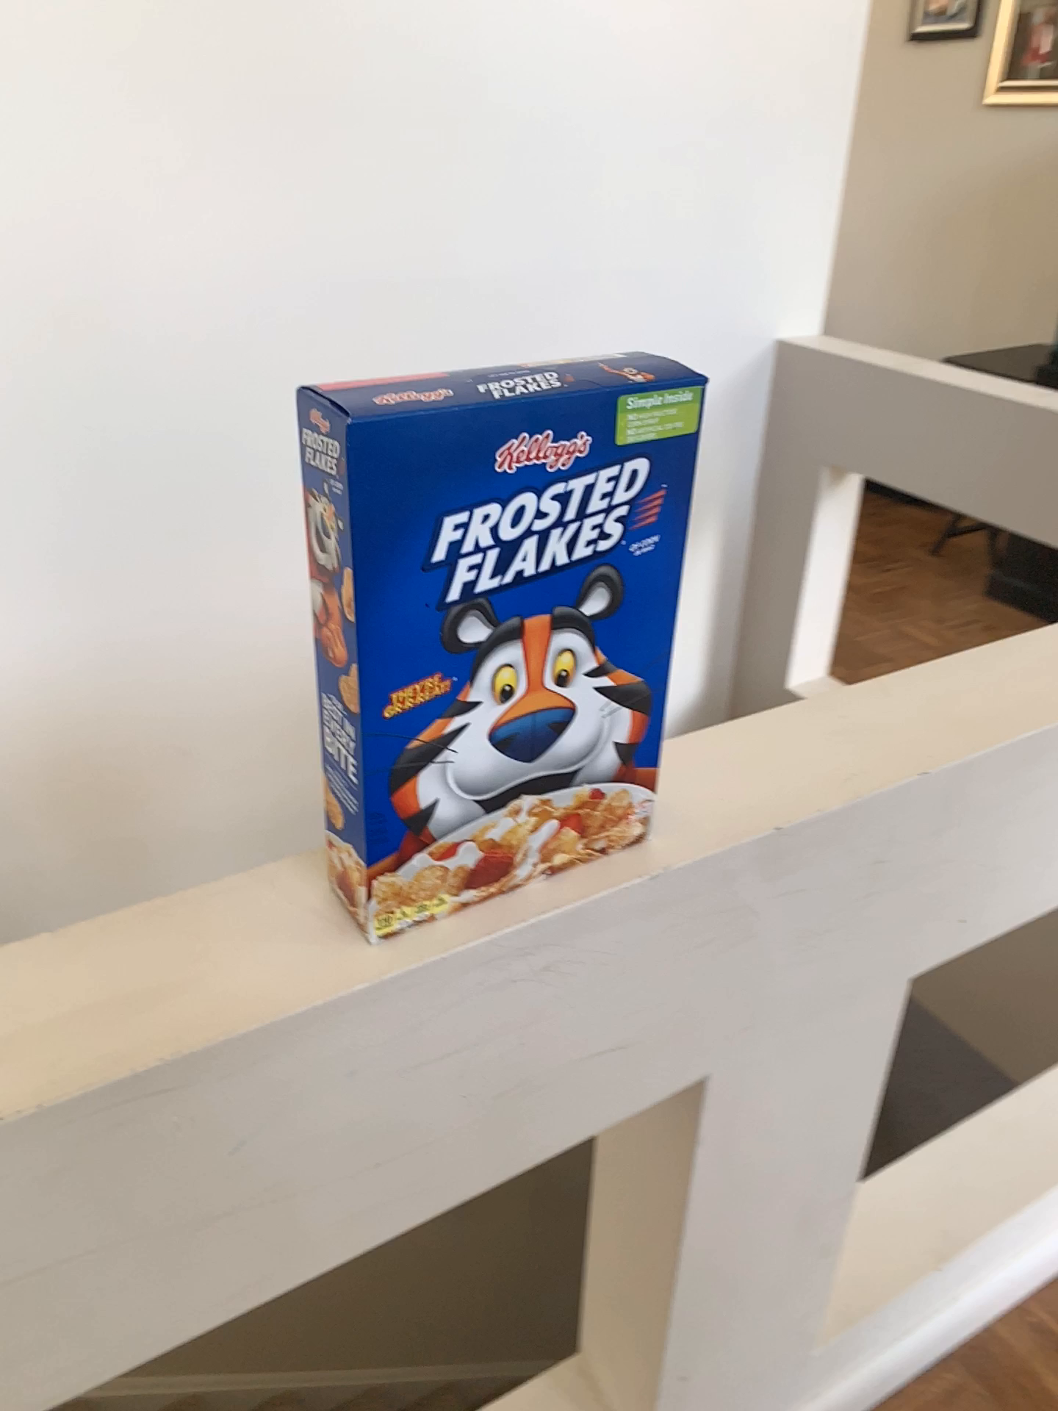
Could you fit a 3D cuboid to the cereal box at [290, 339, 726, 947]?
[{"bbox_3d":[-0.012,-0.032,0.577,0.200,0.288,0.060,-15,35,-28],"label":"cereal box"}]
